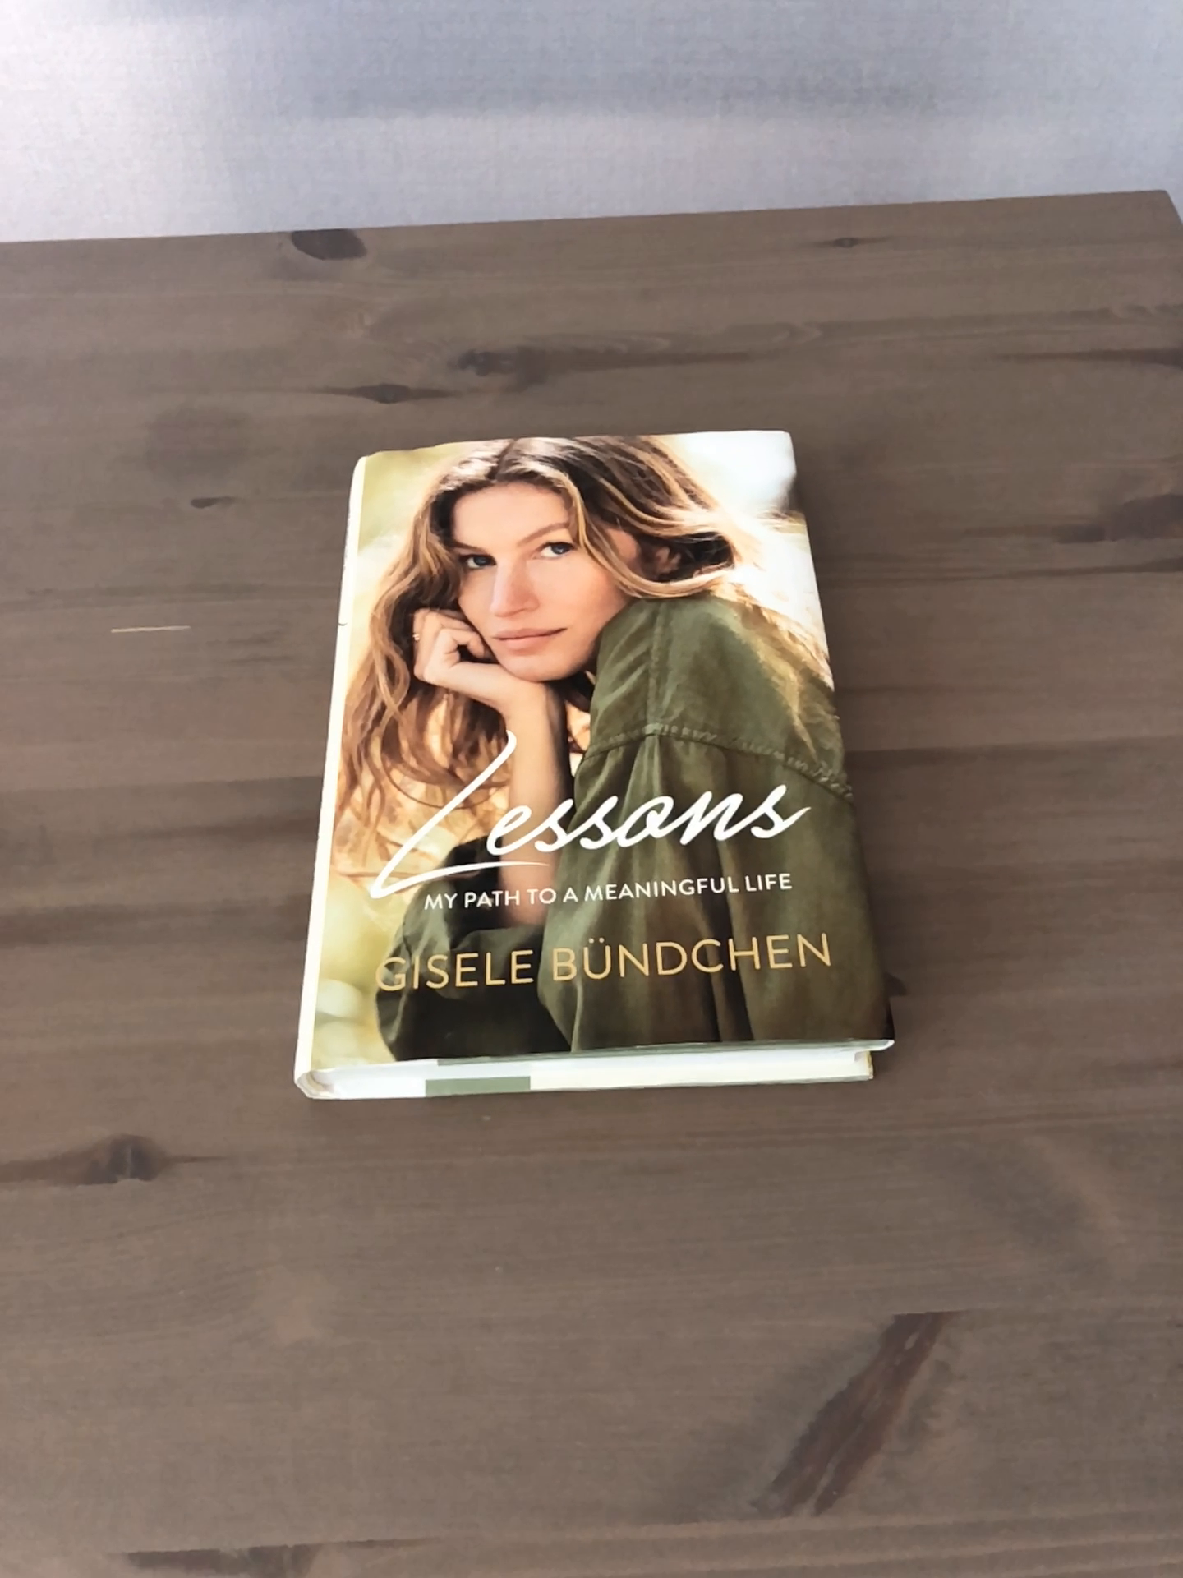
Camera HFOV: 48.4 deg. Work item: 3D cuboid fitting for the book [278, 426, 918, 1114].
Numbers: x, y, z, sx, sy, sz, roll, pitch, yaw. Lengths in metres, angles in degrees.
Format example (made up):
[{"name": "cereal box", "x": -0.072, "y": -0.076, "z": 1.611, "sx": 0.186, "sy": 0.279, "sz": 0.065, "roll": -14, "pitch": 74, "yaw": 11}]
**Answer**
[{"name": "book", "x": -0.002, "y": -0.019, "z": 0.404, "sx": 0.160, "sy": 0.030, "sz": 0.228, "roll": -2, "pitch": 56, "yaw": 0}]
